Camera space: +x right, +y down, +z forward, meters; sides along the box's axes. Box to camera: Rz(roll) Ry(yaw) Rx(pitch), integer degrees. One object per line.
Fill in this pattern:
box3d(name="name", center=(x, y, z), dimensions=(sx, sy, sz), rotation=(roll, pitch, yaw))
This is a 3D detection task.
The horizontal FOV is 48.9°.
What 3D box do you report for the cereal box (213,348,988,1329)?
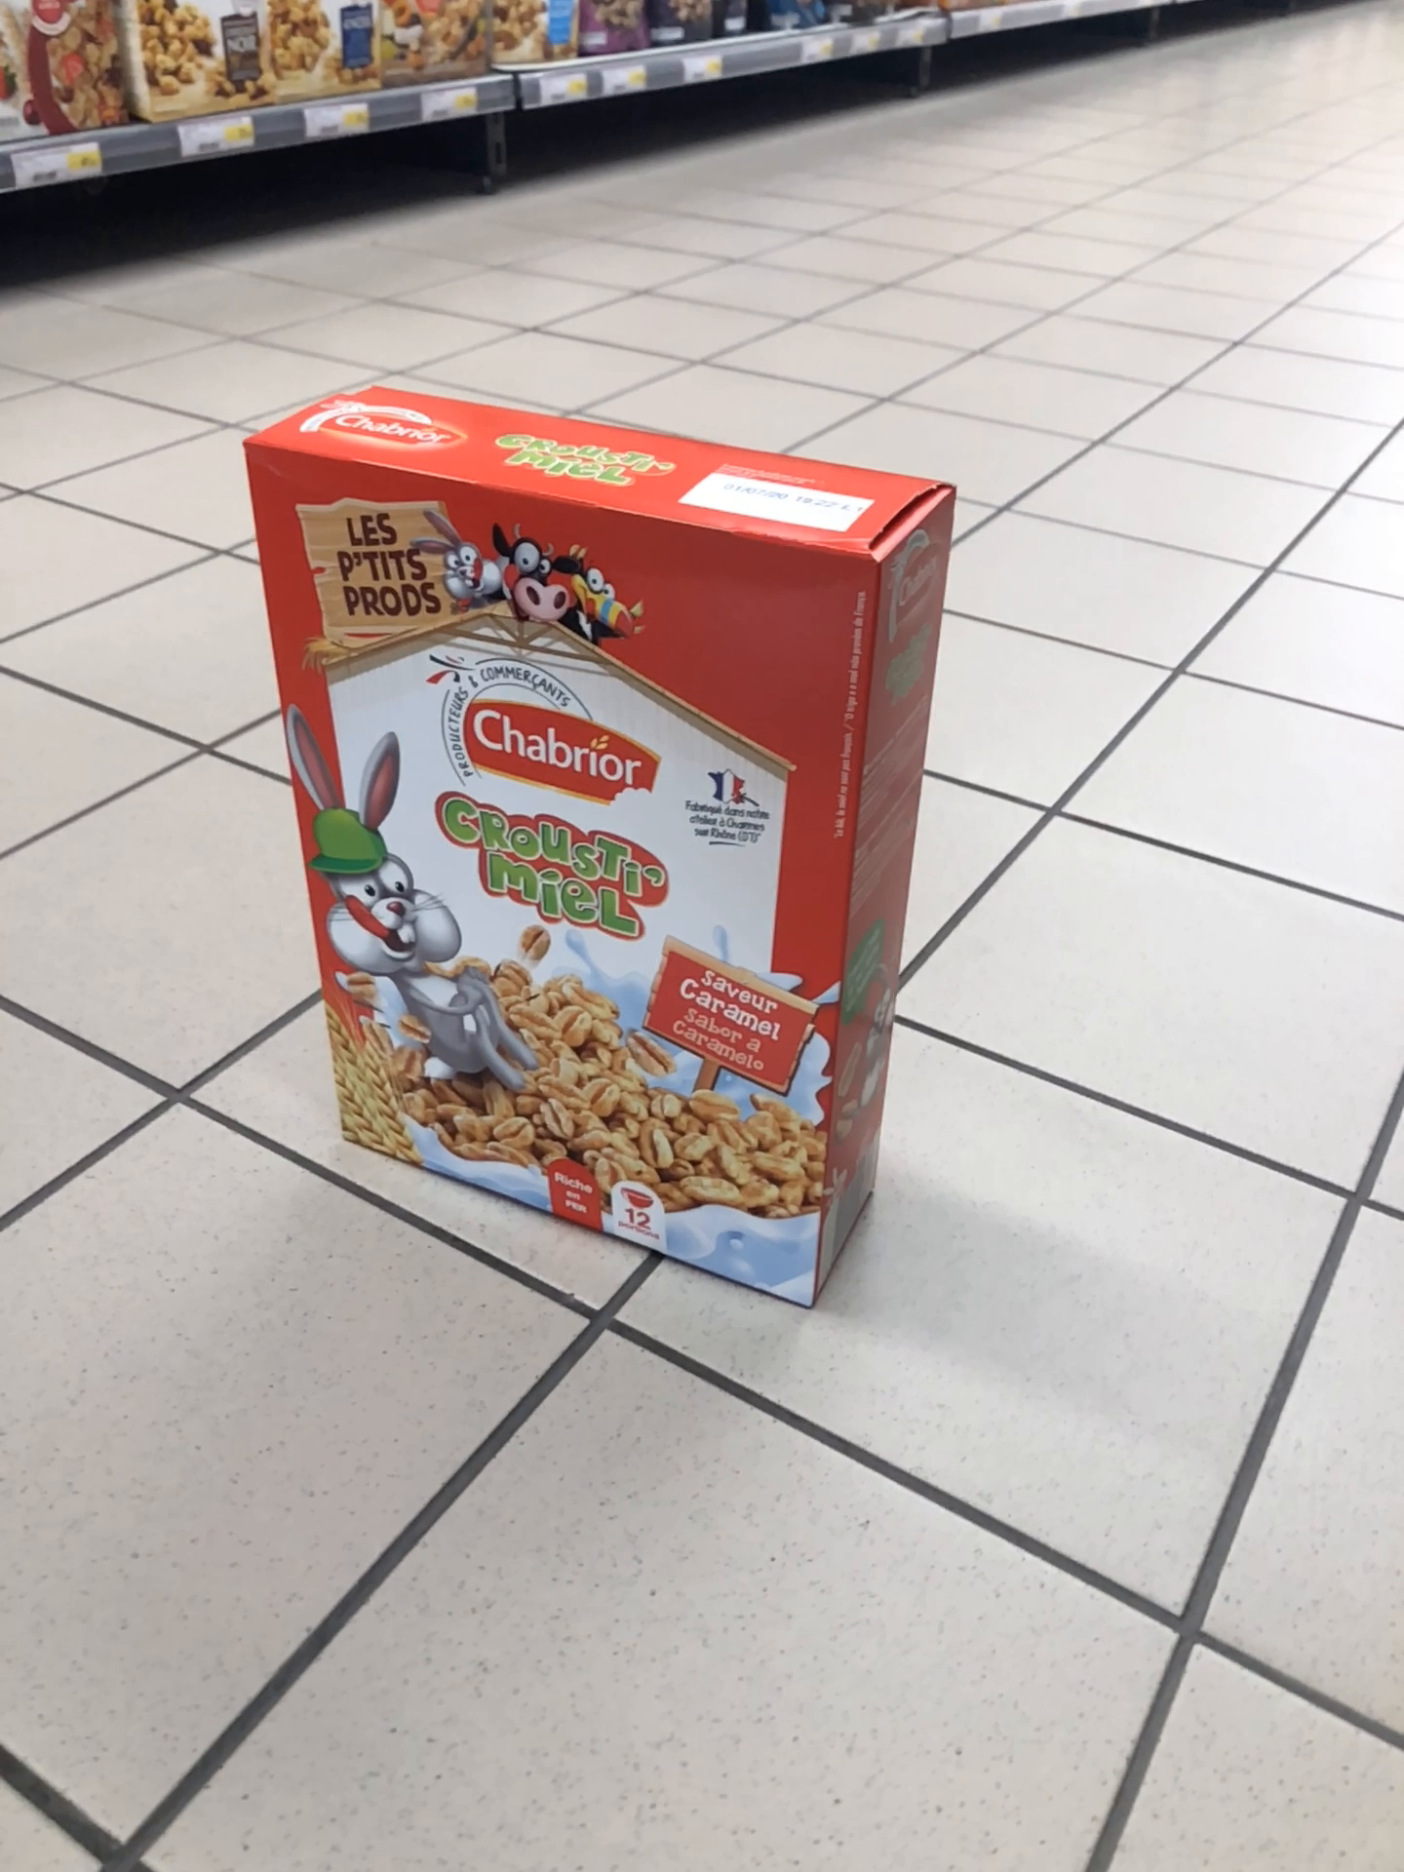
box3d(name="cereal box", center=(-0.033, -0.027, 0.492), dimensions=(0.200, 0.268, 0.070), rotation=(16, 37, 21))
